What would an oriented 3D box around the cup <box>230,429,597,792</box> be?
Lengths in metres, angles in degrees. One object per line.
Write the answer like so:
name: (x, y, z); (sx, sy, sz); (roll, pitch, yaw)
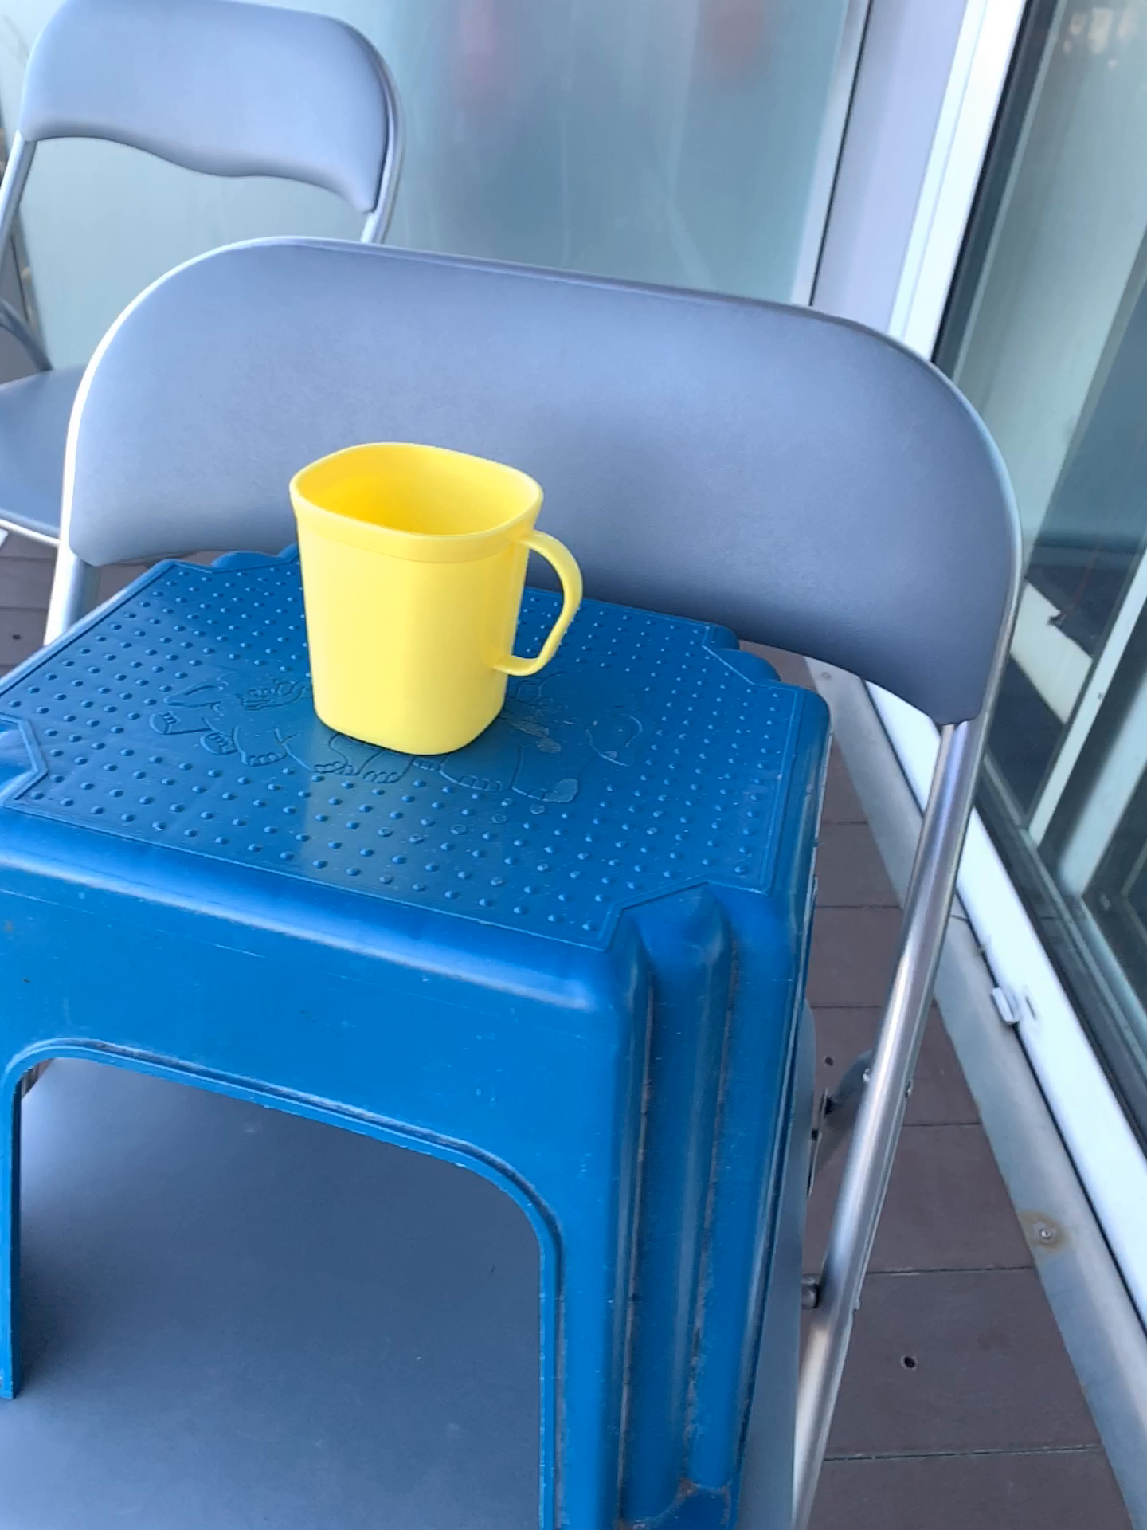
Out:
cup: (-0.049, -0.052, 0.379); (0.089, 0.077, 0.068); (16, 35, 16)
